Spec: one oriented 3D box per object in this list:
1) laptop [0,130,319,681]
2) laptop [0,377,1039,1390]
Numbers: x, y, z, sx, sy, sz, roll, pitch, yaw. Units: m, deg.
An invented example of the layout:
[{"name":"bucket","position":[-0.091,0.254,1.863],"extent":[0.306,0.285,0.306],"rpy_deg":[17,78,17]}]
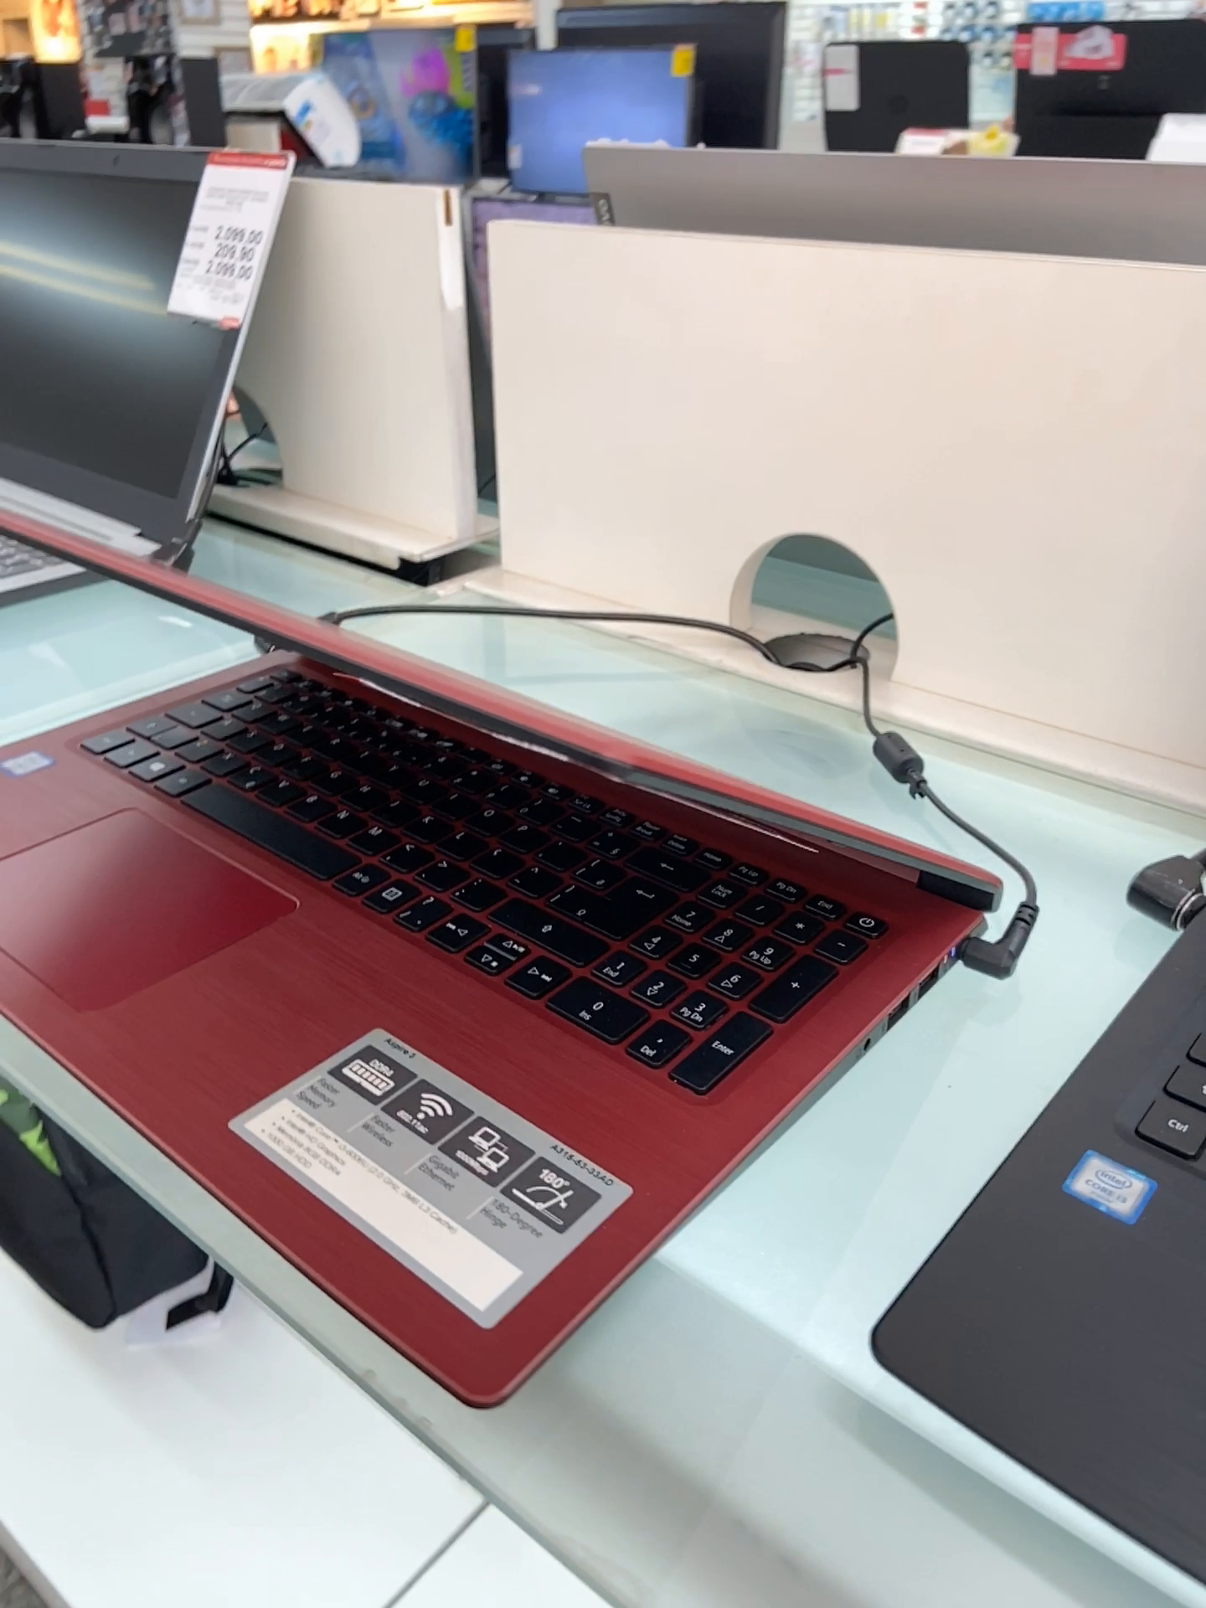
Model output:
[{"name":"laptop","position":[-0.458,-0.287,0.779],"extent":[0.354,0.215,0.379],"rpy_deg":[24,37,34]},{"name":"laptop","position":[-0.095,-0.036,0.420],"extent":[0.380,0.132,0.237],"rpy_deg":[22,36,34]}]
